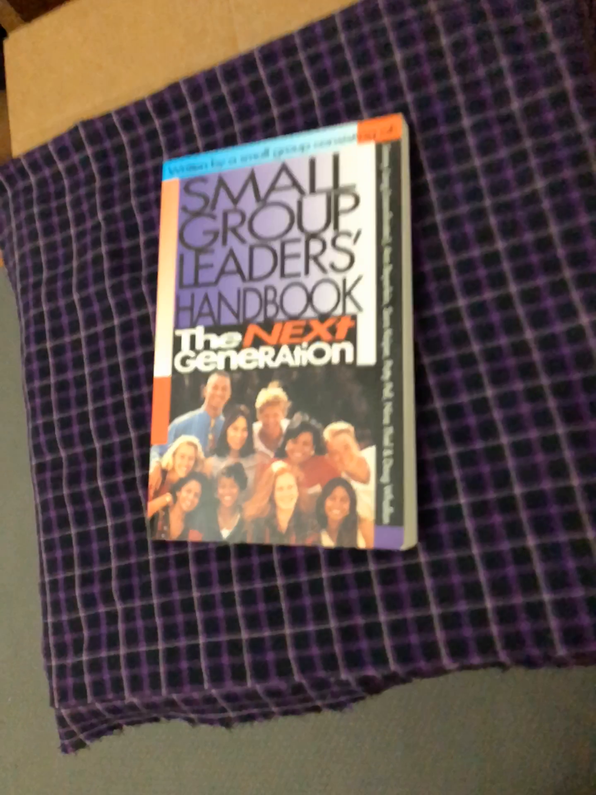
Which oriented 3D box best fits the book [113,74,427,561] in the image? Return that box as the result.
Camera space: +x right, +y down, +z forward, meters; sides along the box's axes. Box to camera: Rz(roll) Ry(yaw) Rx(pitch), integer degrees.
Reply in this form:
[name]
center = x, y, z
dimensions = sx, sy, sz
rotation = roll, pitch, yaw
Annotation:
[book]
center = -0.016, -0.036, 0.326
dimensions = 0.150, 0.030, 0.220
rotation = -3, 81, 21
